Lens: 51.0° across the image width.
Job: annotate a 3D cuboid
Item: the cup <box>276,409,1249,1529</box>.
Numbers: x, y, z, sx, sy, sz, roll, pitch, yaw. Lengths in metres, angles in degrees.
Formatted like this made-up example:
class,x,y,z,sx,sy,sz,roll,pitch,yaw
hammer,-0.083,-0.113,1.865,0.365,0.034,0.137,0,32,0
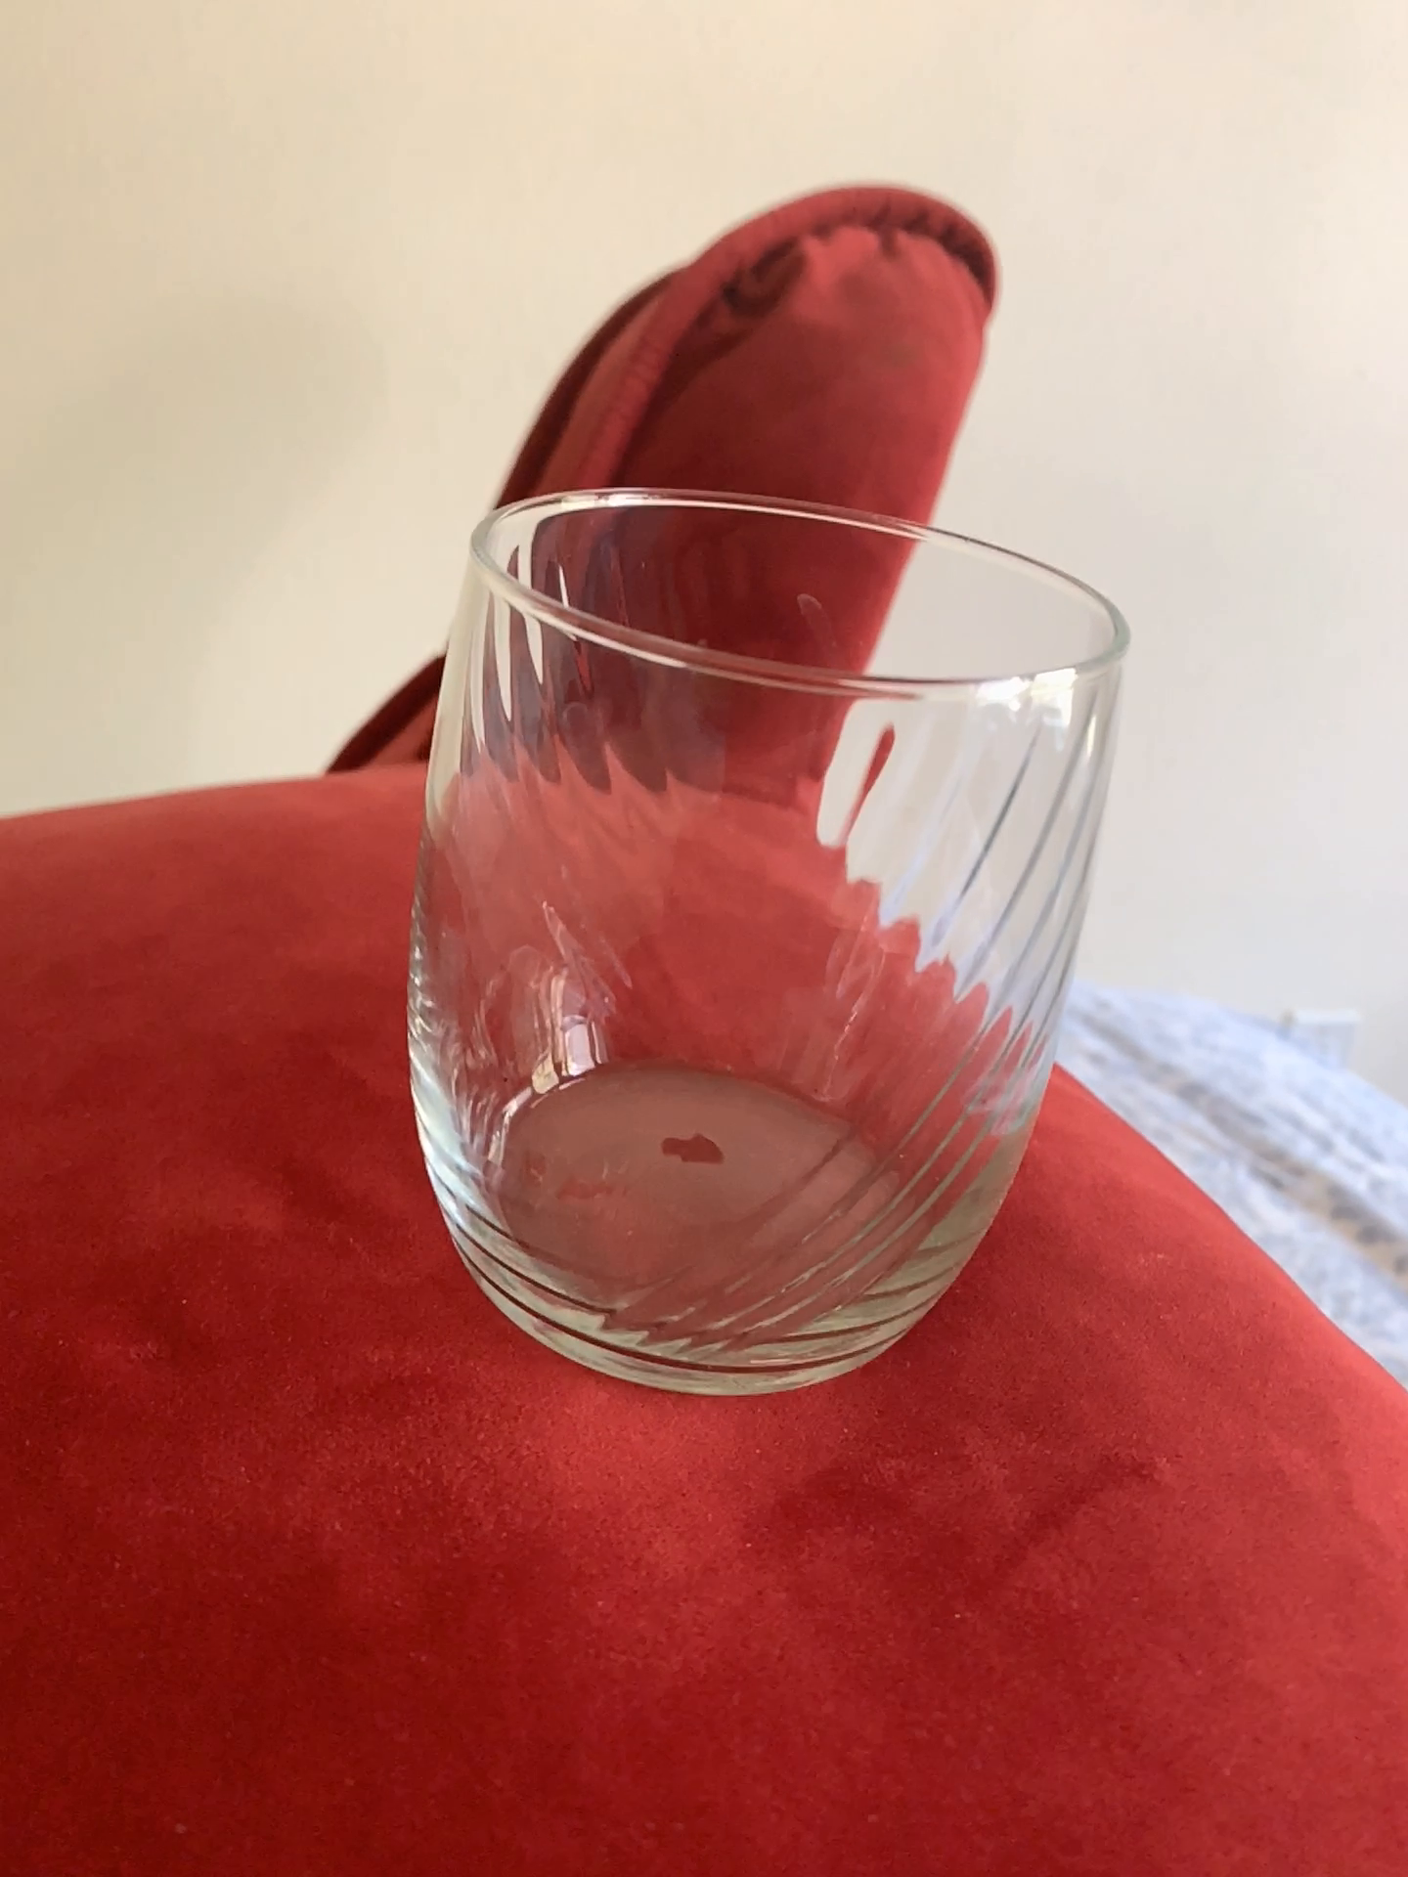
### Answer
class,x,y,z,sx,sy,sz,roll,pitch,yaw
cup,0.008,-0.005,0.173,0.080,0.090,0.080,6,27,-3
